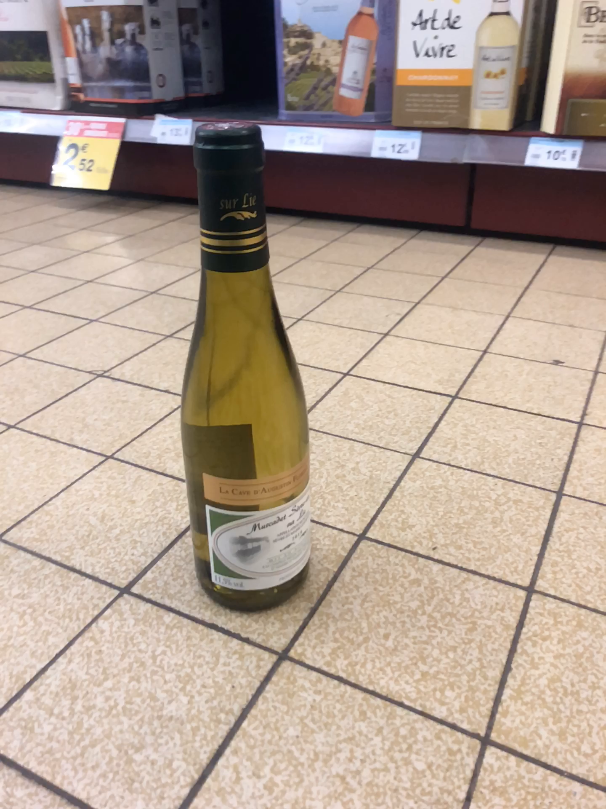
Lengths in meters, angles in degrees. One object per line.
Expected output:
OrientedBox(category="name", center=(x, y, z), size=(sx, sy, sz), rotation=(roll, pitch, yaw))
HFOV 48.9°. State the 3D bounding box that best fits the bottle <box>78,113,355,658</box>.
OrientedBox(category="bottle", center=(-0.034, -0.007, 0.325), size=(0.080, 0.239, 0.080), rotation=(-1, 28, 0))
